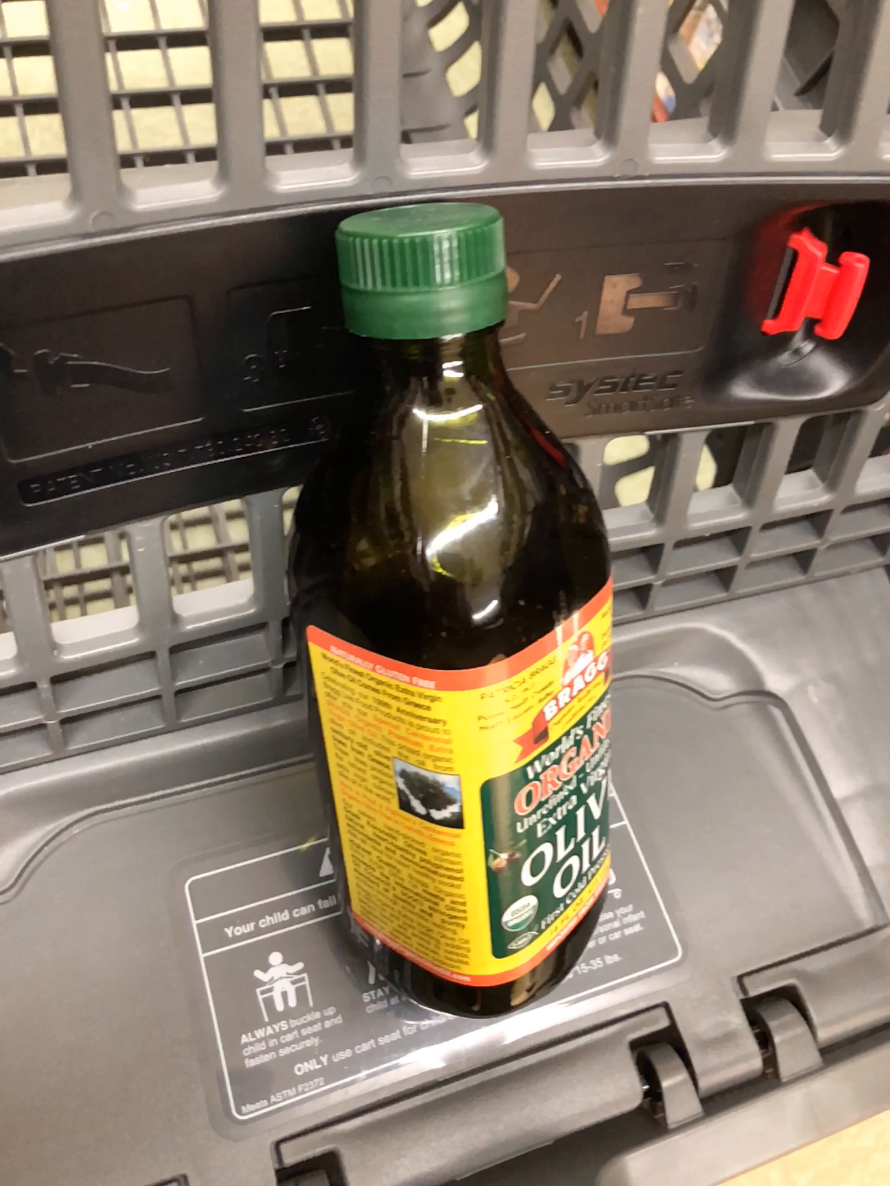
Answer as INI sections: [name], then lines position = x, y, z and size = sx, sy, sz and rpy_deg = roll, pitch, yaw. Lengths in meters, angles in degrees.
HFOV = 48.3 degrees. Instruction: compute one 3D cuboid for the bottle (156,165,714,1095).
[bottle]
position = 0.004, 0.009, 0.234
size = 0.070, 0.193, 0.080
rpy_deg = 20, 36, 33
